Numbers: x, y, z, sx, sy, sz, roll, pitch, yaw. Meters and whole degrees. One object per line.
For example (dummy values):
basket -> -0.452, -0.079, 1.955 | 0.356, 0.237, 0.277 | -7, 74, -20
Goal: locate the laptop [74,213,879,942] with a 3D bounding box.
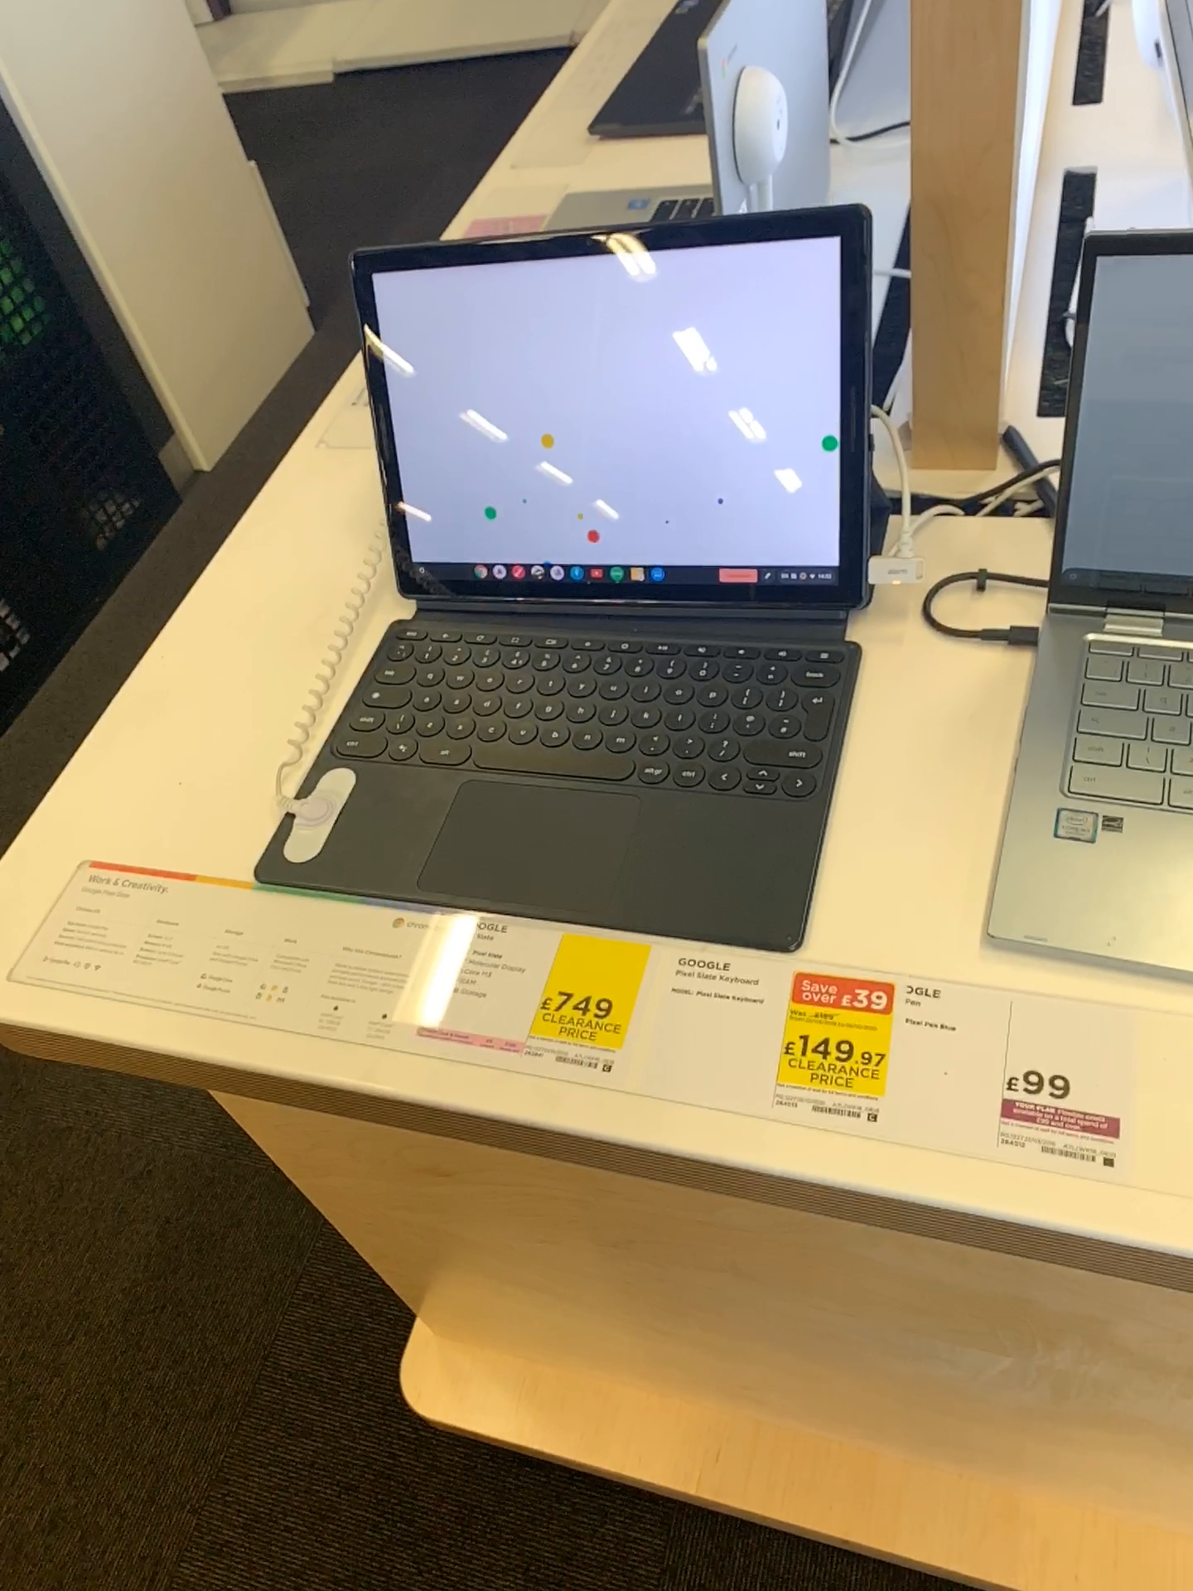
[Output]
laptop -> -0.024, -0.118, 0.616 | 0.285, 0.187, 0.295 | 5, 51, 18

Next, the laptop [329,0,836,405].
laptop -> 0.019, -0.471, 0.872 | 0.233, 0.222, 0.321 | 6, 53, 19
